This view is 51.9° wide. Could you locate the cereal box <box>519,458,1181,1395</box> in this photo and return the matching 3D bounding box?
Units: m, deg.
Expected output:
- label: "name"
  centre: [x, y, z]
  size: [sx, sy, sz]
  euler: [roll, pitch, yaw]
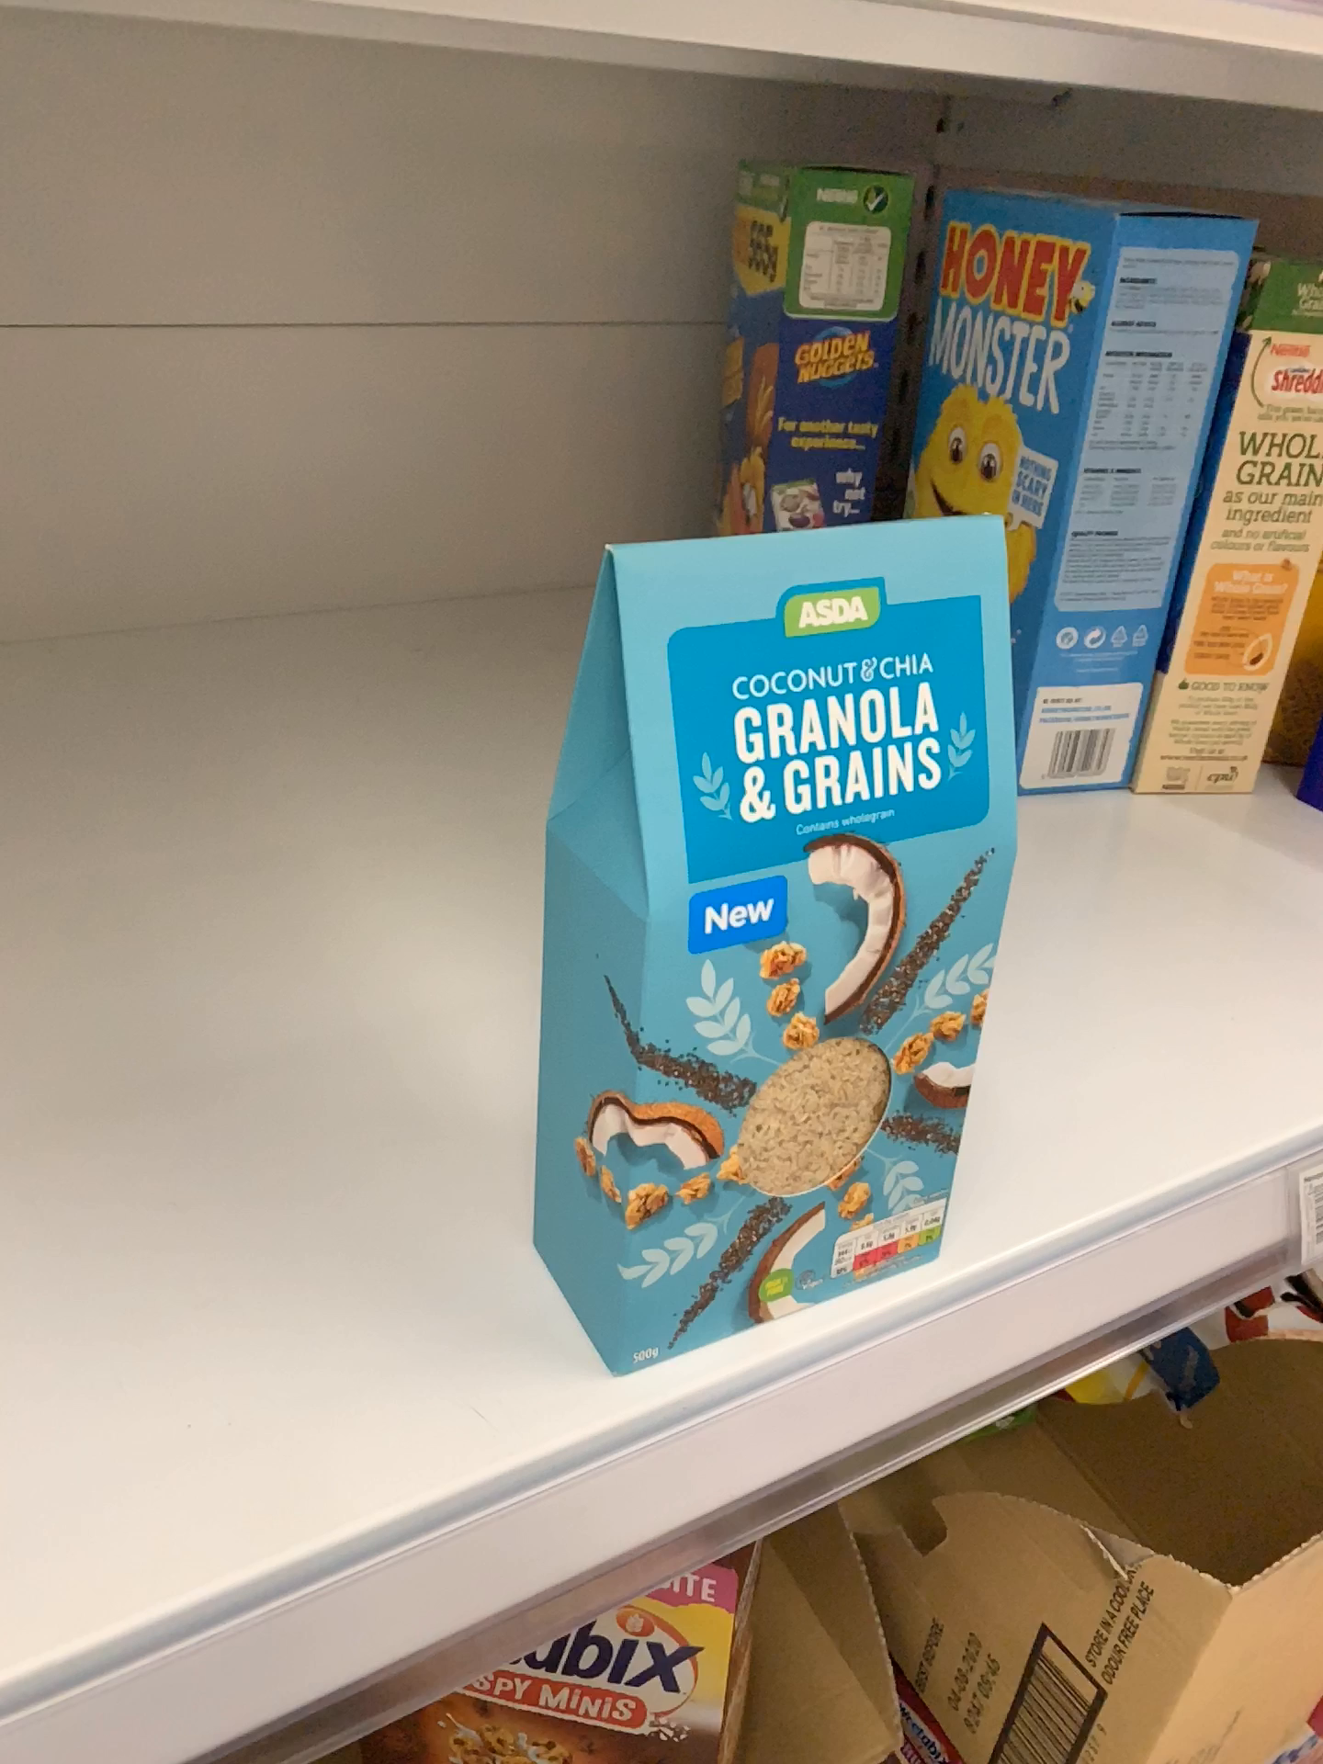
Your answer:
- label: "cereal box"
  centre: [0.041, 0.012, 0.385]
  size: [0.140, 0.238, 0.070]
  euler: [-10, 31, -25]
